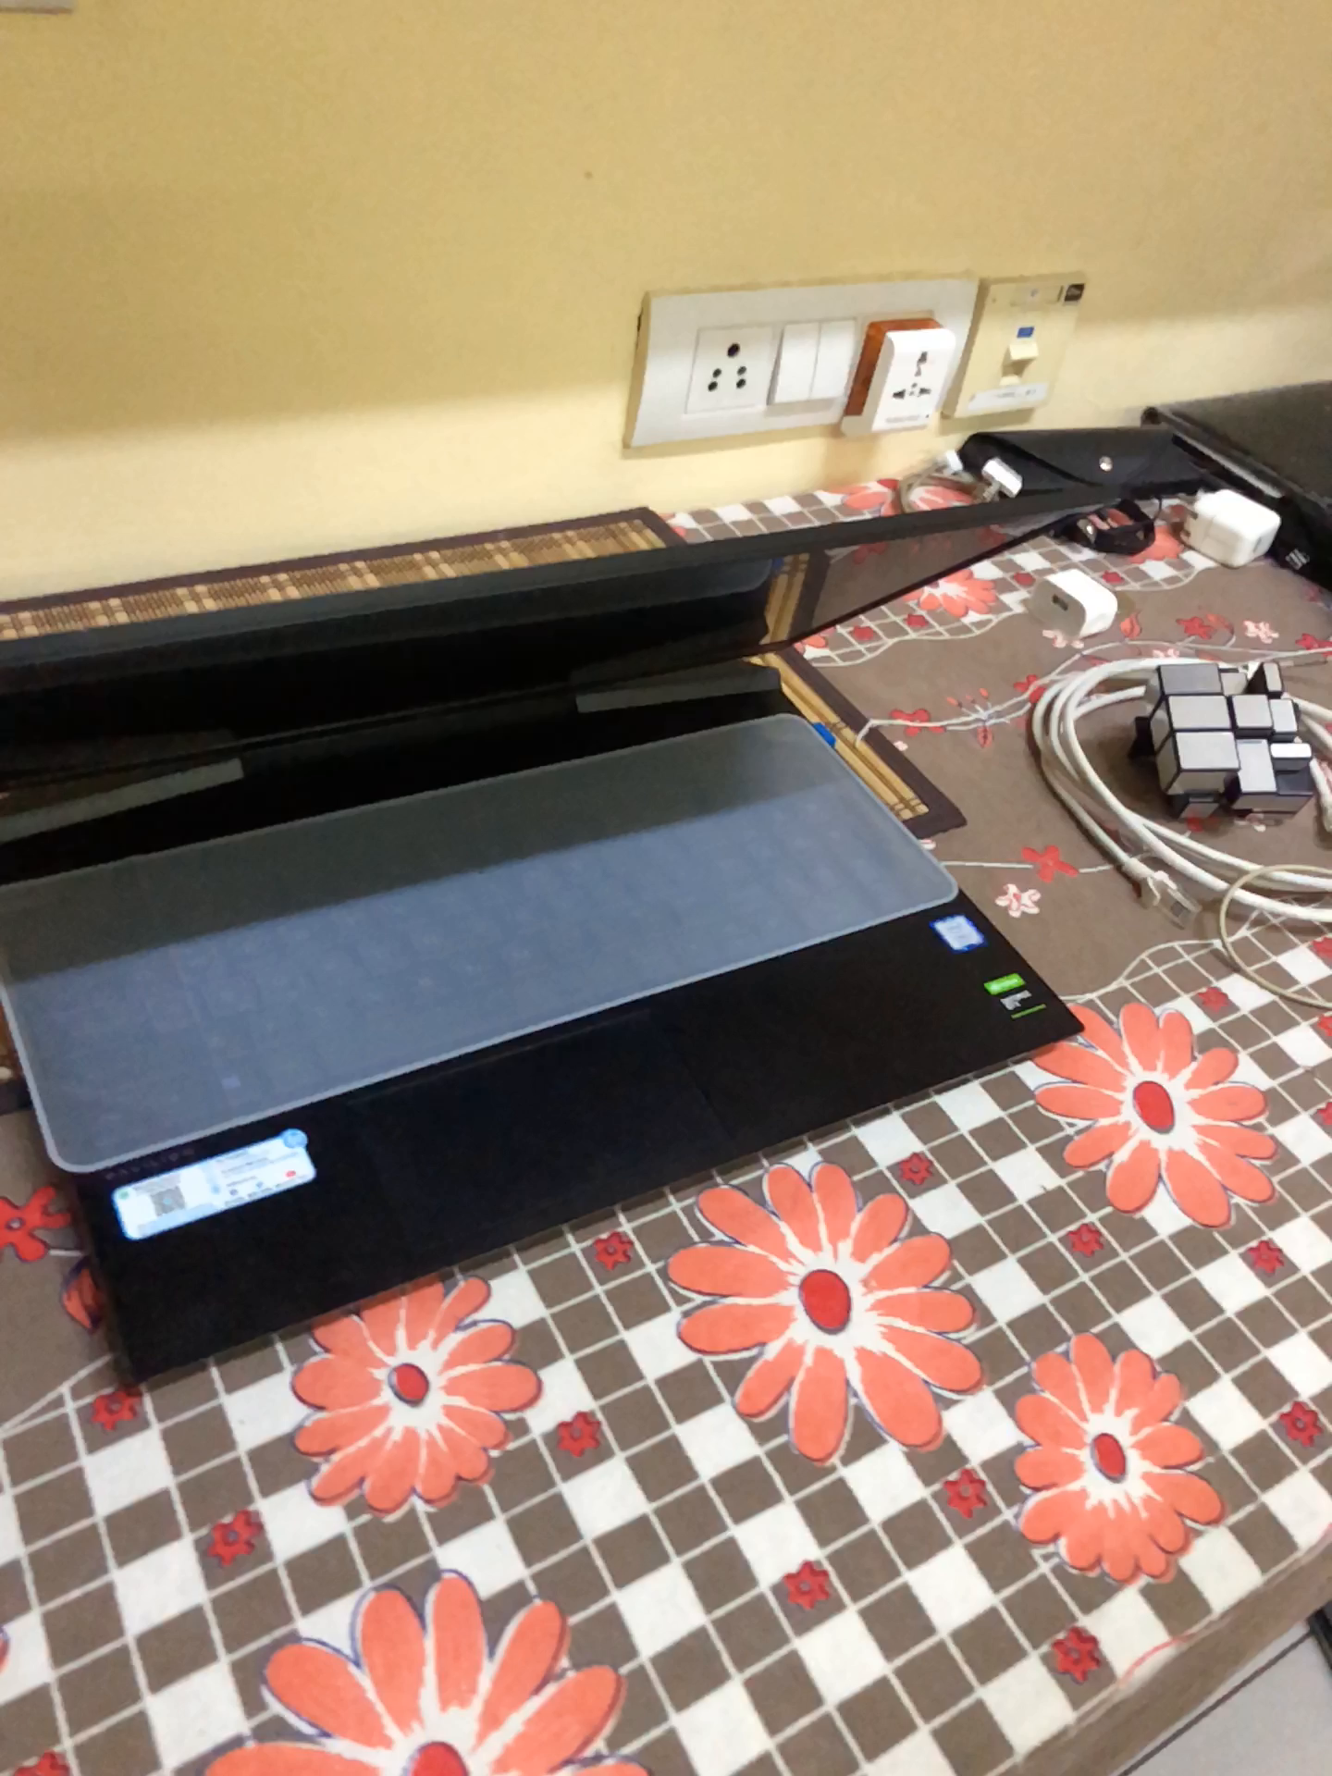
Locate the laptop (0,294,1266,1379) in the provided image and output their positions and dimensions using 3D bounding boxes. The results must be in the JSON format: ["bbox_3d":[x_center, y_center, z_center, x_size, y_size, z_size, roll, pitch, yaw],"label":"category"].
[{"bbox_3d":[-0.035,-0.048,0.502,0.357,0.164,0.237,-16,52,-25],"label":"laptop"}]
